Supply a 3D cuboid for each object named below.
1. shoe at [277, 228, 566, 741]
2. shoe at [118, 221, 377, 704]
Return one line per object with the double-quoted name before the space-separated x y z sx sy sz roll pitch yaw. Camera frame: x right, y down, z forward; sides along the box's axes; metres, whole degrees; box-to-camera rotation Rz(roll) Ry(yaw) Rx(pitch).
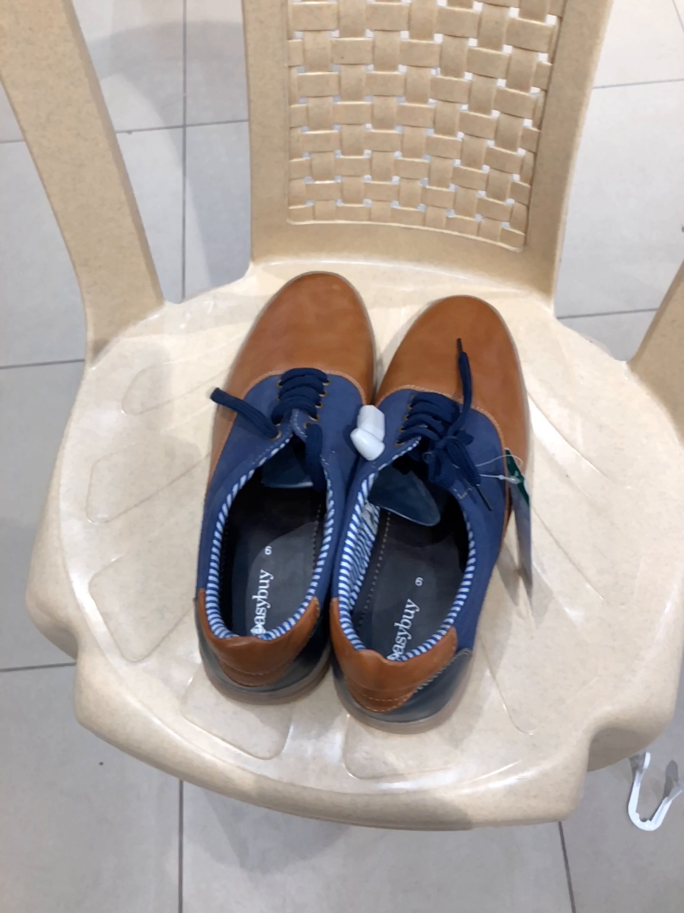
"shoe" 0.050 0.018 0.429 0.103 0.120 0.252 9 69 7
"shoe" -0.039 0.004 0.441 0.103 0.113 0.254 2 69 4
